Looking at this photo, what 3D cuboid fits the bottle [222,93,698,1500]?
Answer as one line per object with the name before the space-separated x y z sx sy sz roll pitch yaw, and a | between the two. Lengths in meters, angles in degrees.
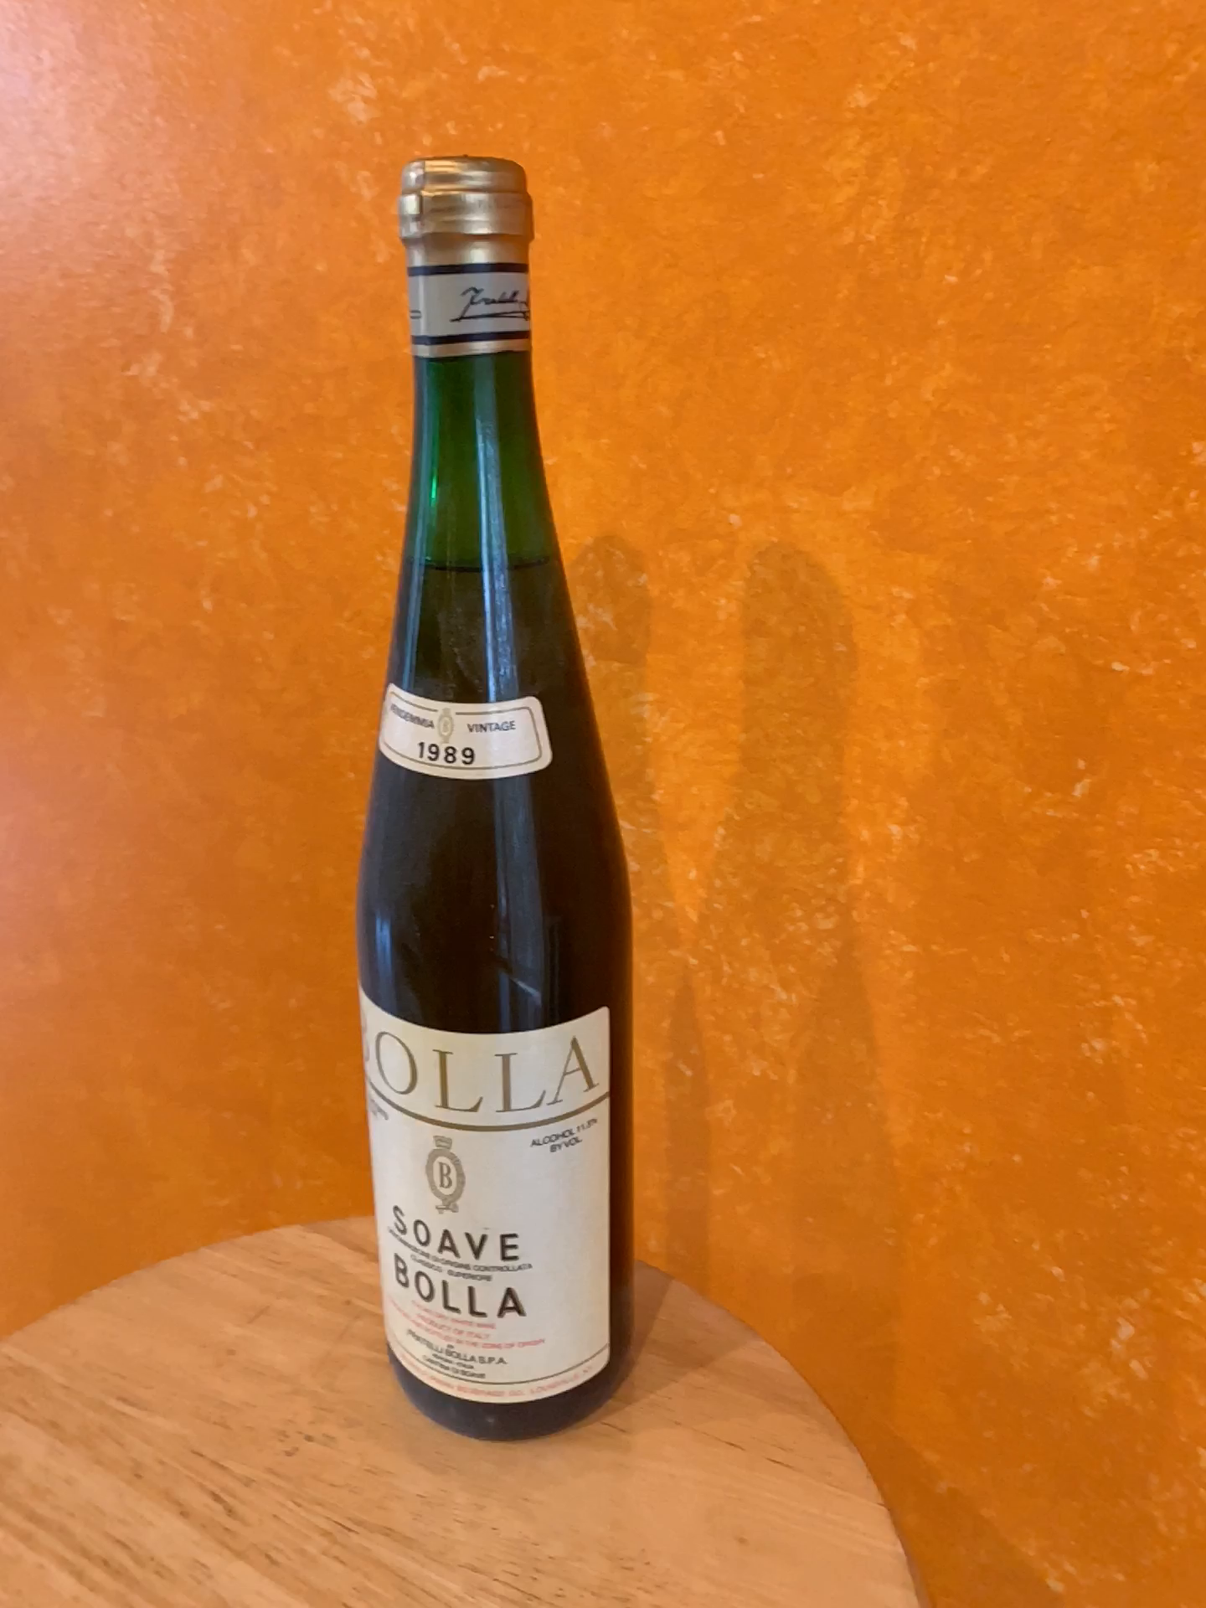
bottle | -0.027 0.014 0.328 0.080 0.338 0.070 7 21 21
